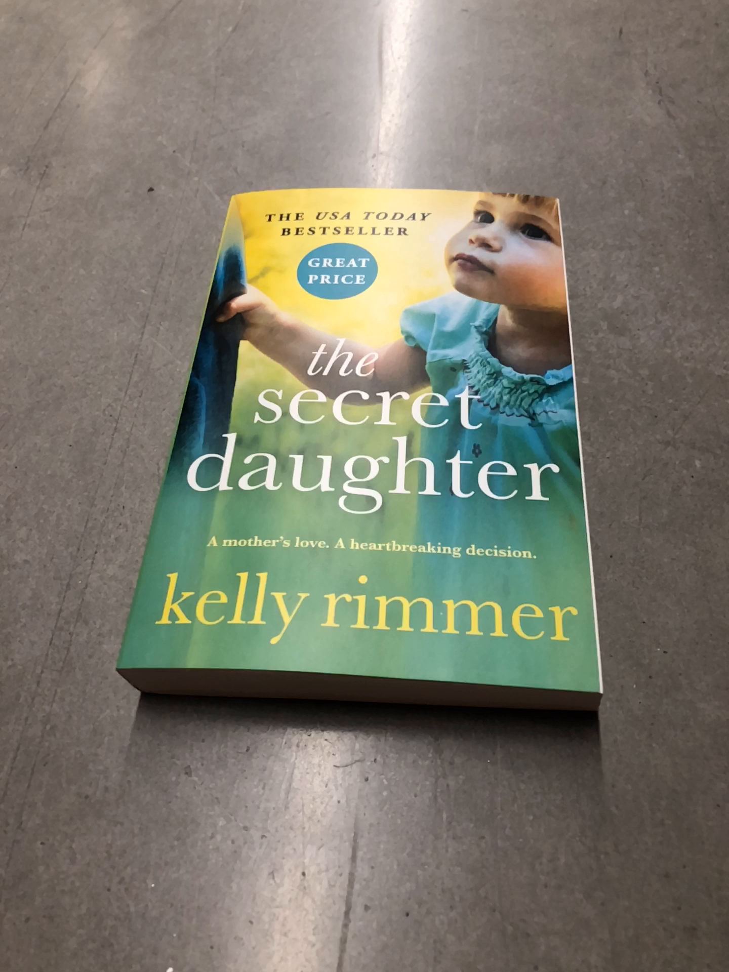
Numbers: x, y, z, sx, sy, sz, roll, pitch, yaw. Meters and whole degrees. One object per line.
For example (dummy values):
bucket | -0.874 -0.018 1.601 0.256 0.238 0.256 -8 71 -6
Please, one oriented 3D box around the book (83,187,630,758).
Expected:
book | 0.004 -0.023 0.276 0.140 0.030 0.211 2 57 4
